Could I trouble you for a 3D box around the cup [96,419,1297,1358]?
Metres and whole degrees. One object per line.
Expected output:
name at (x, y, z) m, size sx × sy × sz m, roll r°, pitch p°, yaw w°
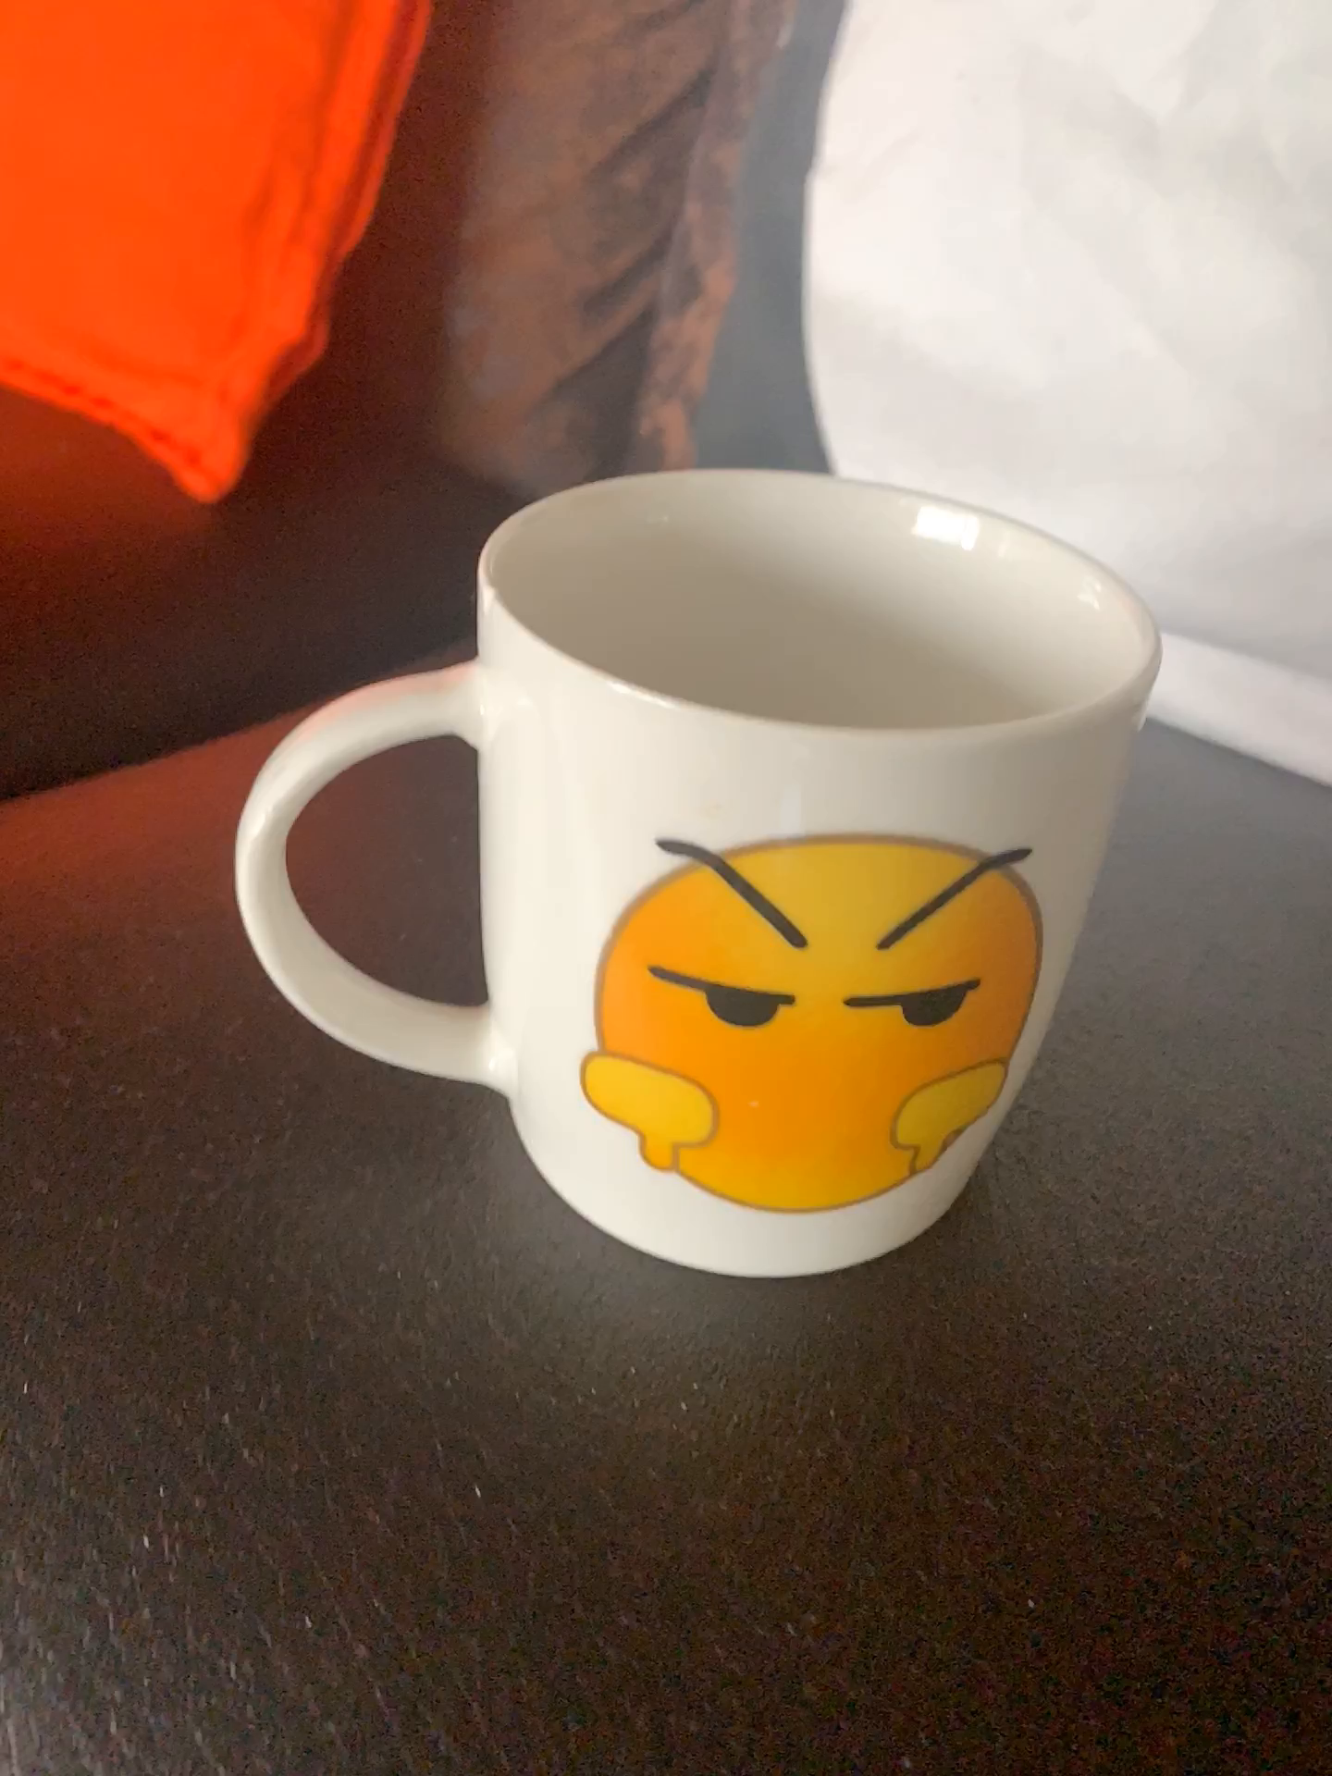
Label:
cup at (-0.002, 0.000, 0.198) m, size 0.120 × 0.099 × 0.081 m, roll 2°, pitch 33°, yaw -8°
